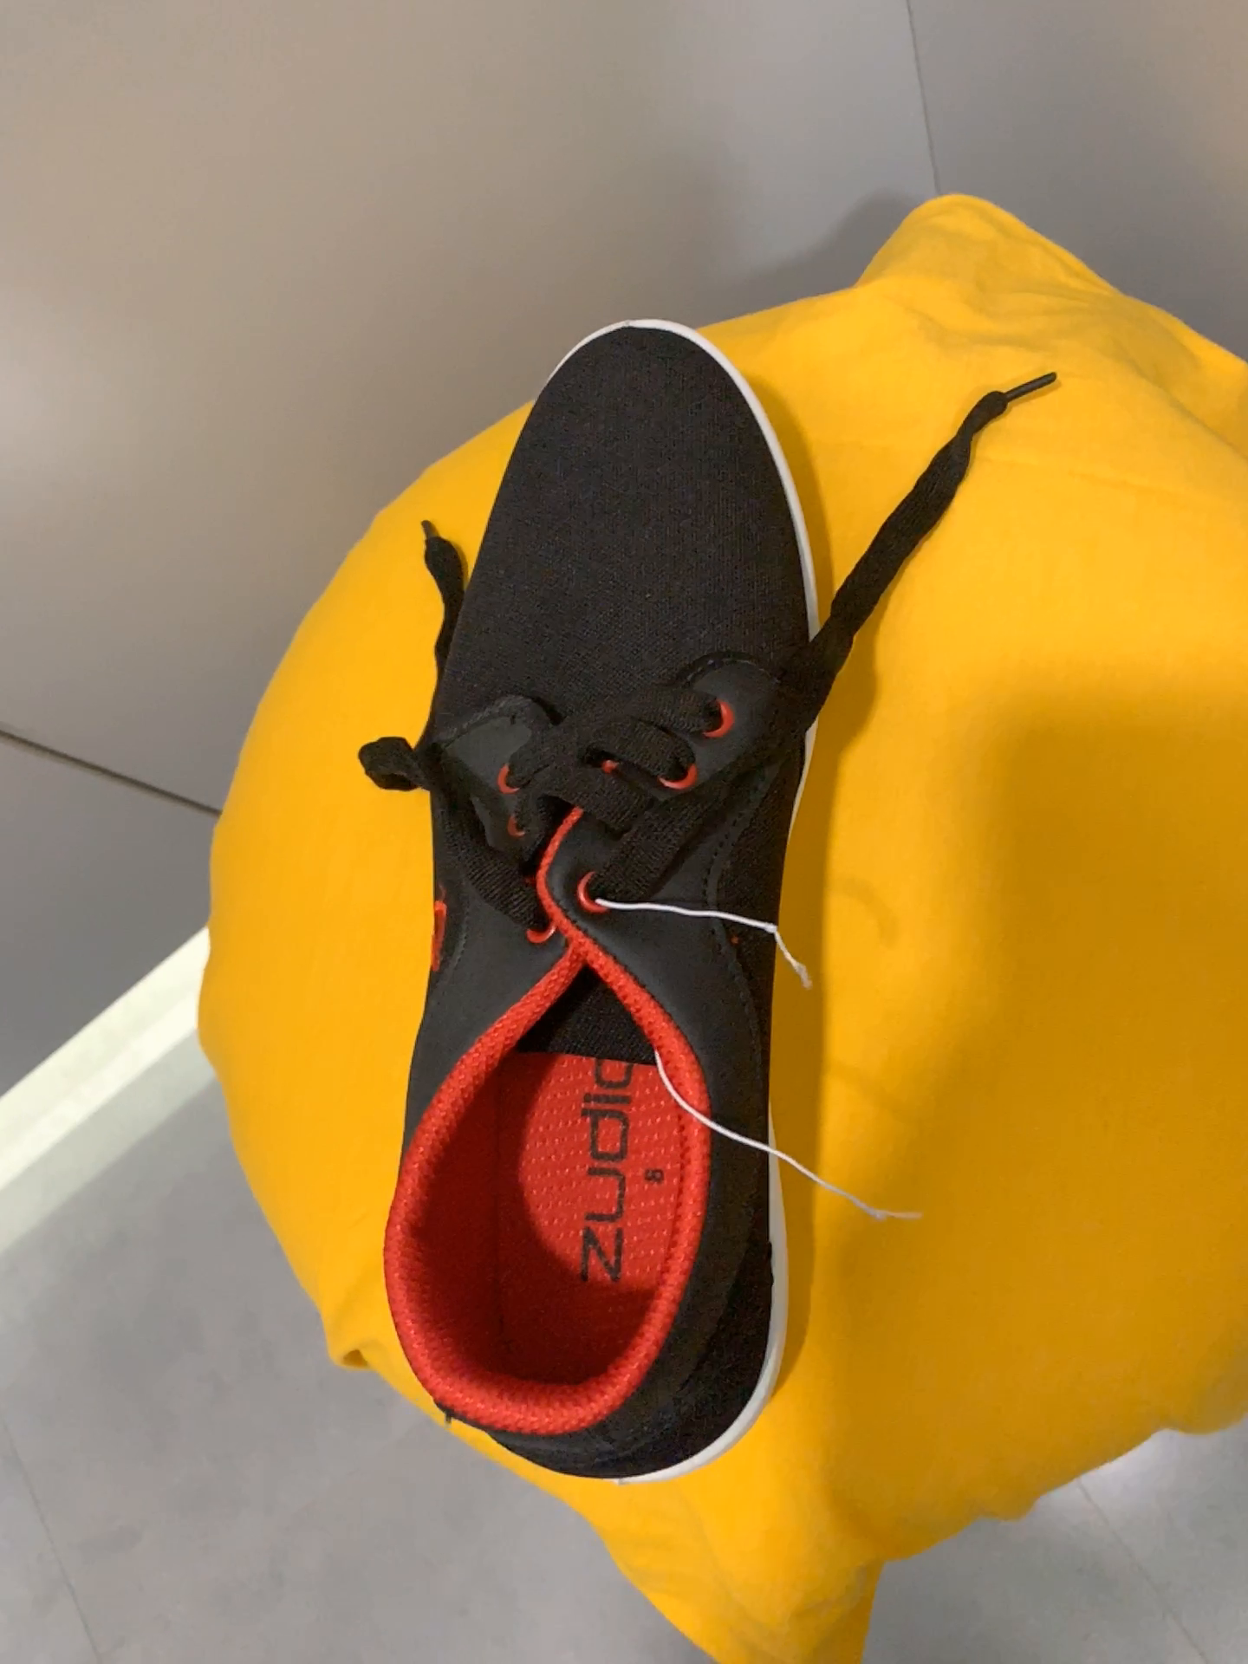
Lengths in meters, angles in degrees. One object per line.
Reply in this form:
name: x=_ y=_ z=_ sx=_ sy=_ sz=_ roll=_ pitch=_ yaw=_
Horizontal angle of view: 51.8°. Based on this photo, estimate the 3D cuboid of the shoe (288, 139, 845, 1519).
shoe: x=-0.002 y=-0.003 z=0.307 sx=0.090 sy=0.100 sz=0.270 roll=-3 pitch=77 yaw=19
